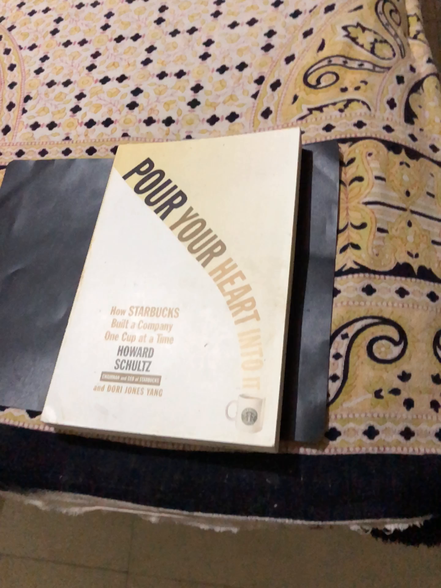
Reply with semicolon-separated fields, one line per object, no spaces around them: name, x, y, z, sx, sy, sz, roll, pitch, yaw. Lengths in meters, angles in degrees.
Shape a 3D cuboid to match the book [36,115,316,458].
book;-0.019;-0.017;0.361;0.160;0.050;0.240;2;66;15
